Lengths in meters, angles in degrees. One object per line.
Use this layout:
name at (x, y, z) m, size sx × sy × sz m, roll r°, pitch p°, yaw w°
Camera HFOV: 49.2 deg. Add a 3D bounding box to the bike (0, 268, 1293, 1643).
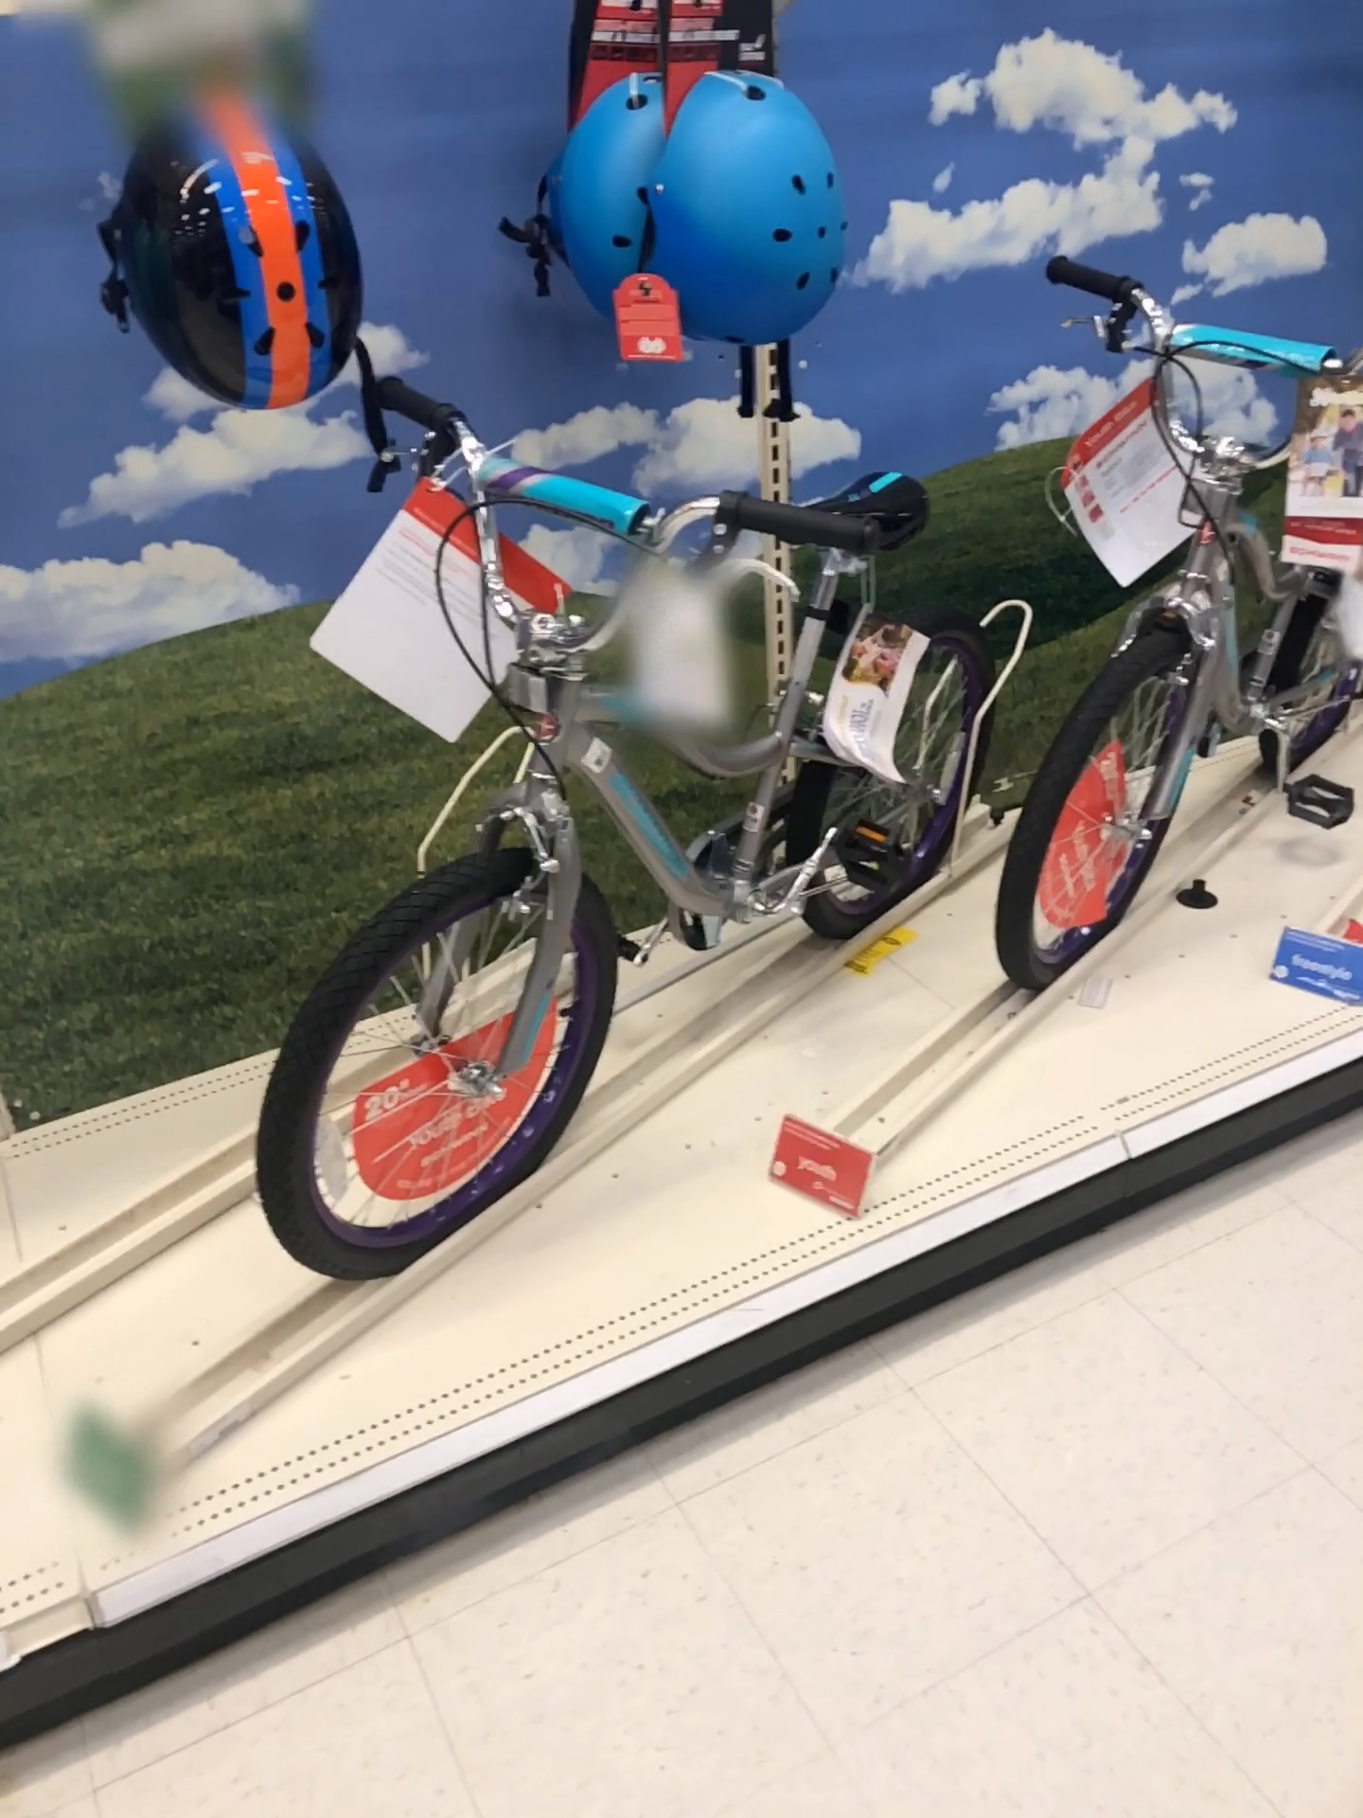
bike at (0.075, -0.119, 1.744) m, size 0.650 × 0.878 × 1.324 m, roll 20°, pitch 41°, yaw 36°
